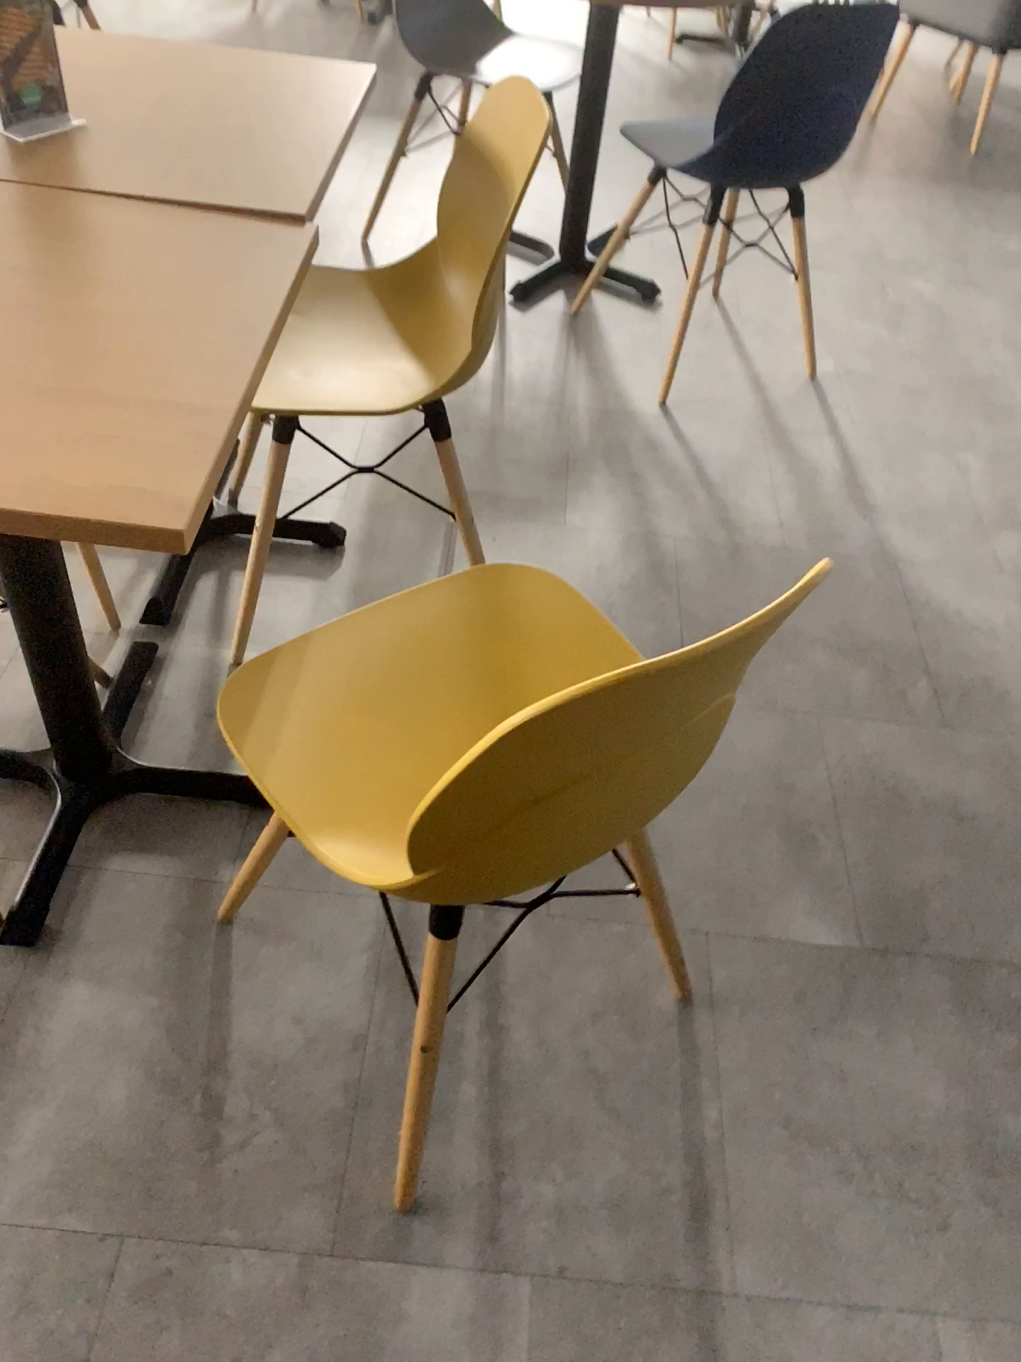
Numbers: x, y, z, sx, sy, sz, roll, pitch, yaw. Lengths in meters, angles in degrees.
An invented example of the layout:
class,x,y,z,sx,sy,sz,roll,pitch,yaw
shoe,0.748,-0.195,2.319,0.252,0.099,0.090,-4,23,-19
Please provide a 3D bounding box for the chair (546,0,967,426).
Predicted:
class,x,y,z,sx,sy,sz,roll,pitch,yaw
chair,0.481,-1.096,2.300,0.518,0.781,0.532,-19,51,-24

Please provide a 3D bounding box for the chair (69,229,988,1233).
class,x,y,z,sx,sy,sz,roll,pitch,yaw
chair,-0.027,0.063,1.092,0.518,0.781,0.521,-26,54,-28

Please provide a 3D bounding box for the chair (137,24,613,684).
class,x,y,z,sx,sy,sz,roll,pitch,yaw
chair,-0.233,-0.480,1.598,0.529,0.781,0.521,-6,47,-13
